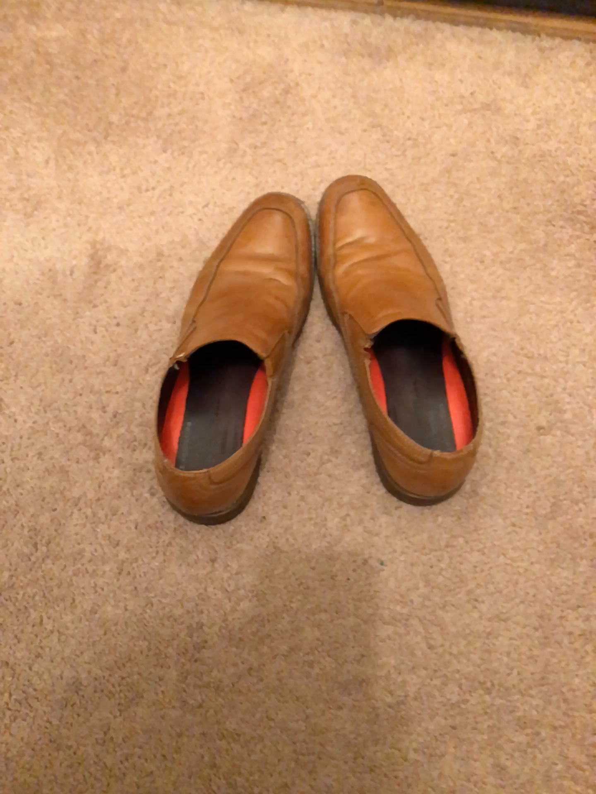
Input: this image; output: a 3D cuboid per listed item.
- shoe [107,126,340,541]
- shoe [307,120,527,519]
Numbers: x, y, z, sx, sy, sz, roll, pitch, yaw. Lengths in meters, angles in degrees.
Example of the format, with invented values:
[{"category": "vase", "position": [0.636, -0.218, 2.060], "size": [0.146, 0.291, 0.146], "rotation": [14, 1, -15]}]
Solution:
[{"category": "shoe", "position": [-0.045, -0.059, 0.538], "size": [0.100, 0.090, 0.321], "rotation": [10, 68, 5]}, {"category": "shoe", "position": [0.082, -0.069, 0.541], "size": [0.107, 0.089, 0.311], "rotation": [-7, 67, -1]}]
